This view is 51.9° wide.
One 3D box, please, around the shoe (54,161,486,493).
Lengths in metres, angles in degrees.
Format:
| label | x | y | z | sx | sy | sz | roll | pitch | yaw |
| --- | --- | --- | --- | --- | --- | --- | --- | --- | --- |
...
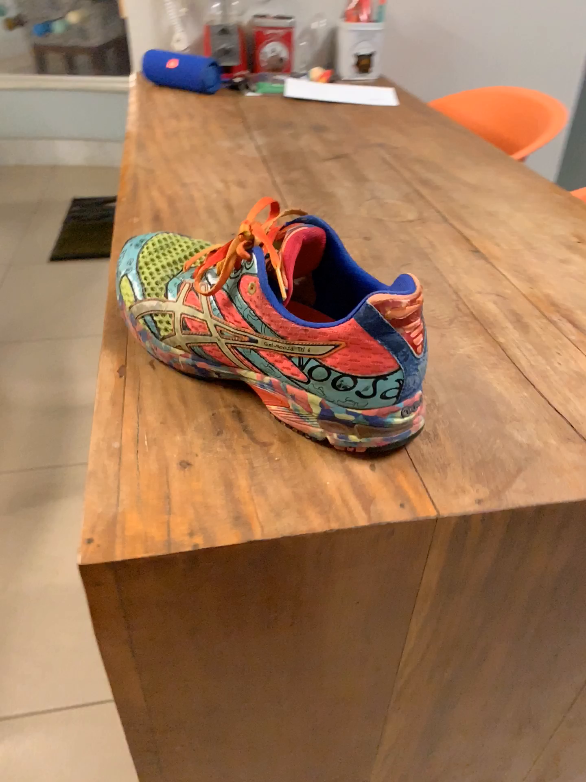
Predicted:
| label | x | y | z | sx | sy | sz | roll | pitch | yaw |
| --- | --- | --- | --- | --- | --- | --- | --- | --- | --- |
| shoe | -0.033 | -0.070 | 0.459 | 0.311 | 0.118 | 0.110 | 28 | 45 | 31 |
